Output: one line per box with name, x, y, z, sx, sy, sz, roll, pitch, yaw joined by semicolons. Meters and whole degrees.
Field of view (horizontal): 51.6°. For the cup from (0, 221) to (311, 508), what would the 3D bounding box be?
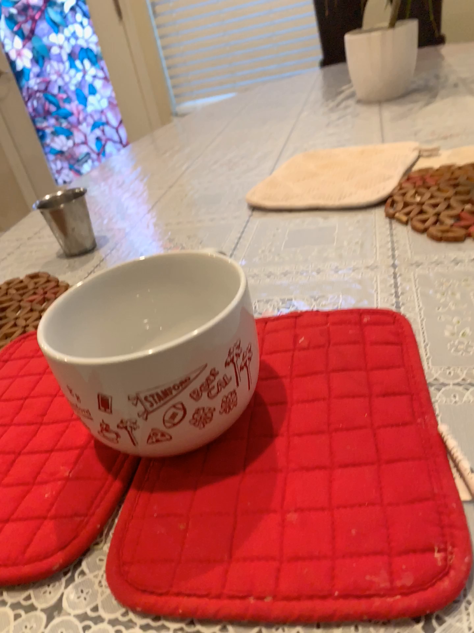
cup;-0.039;0.013;0.284;0.120;0.079;0.141;3;35;25
